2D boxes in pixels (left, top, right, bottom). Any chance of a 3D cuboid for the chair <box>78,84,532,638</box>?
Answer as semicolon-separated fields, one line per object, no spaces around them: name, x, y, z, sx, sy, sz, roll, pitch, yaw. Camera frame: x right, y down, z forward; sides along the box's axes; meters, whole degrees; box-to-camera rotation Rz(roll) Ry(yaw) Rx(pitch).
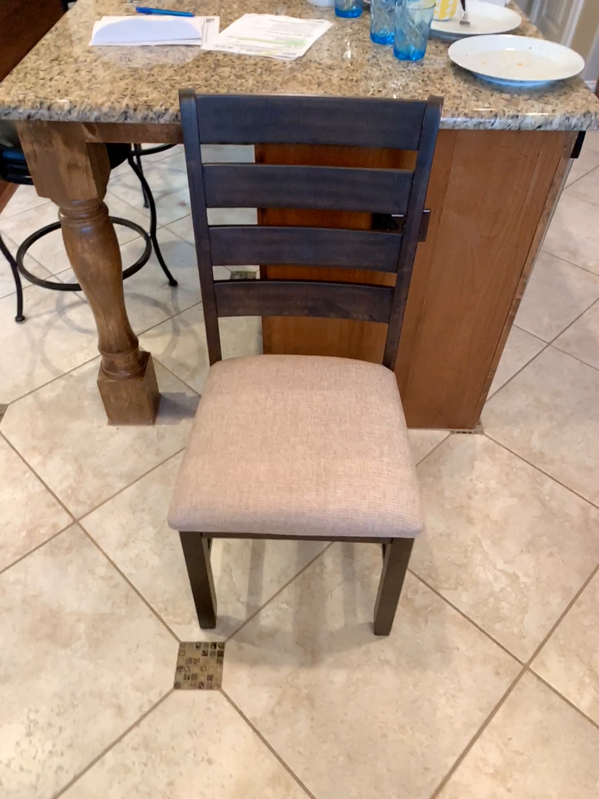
chair;0.003;-0.004;1.136;0.467;0.910;0.526;1;46;0
